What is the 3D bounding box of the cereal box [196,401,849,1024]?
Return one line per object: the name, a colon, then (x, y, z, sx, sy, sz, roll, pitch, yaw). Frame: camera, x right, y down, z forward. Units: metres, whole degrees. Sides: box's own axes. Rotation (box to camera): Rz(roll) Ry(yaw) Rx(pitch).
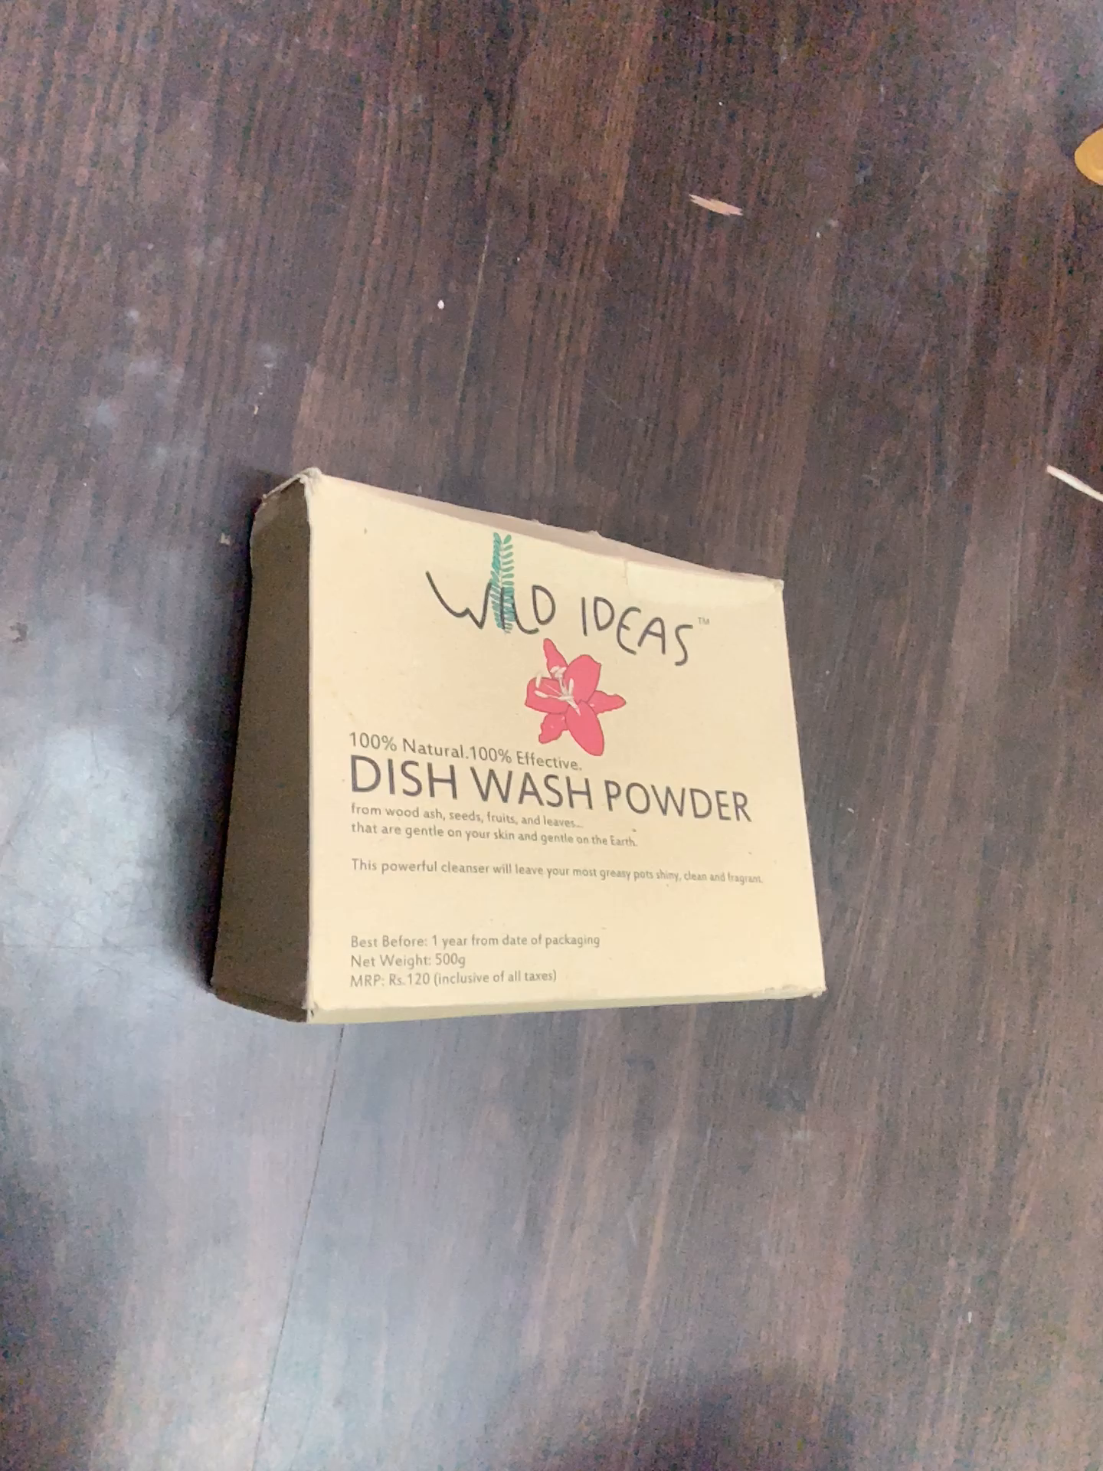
cereal box: (-0.004, 0.005, 0.340, 0.181, 0.060, 0.150, 7, 73, -33)
